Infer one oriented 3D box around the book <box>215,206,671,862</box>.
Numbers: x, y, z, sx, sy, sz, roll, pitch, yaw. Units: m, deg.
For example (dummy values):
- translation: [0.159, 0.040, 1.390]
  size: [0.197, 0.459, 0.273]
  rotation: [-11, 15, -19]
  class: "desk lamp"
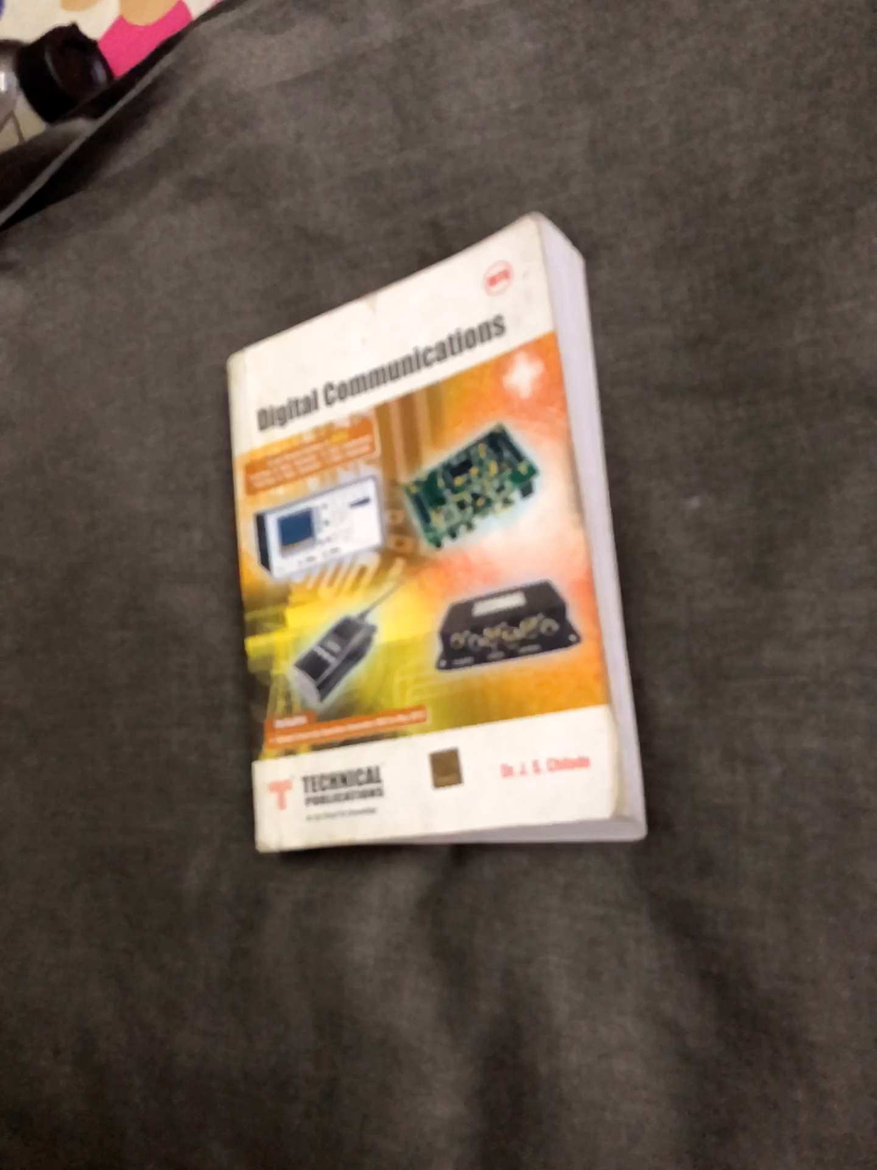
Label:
- translation: [-0.011, -0.009, 0.417]
  size: [0.182, 0.050, 0.241]
  rotation: [-13, 77, 33]
  class: "book"
